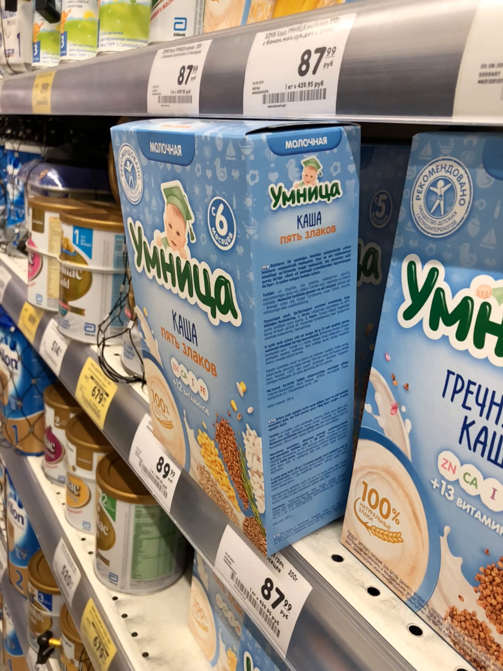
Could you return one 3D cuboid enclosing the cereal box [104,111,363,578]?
[{"bbox_3d":[-0.010,-0.006,0.304,0.060,0.209,0.140,-17,26,-28],"label":"cereal box"}]
